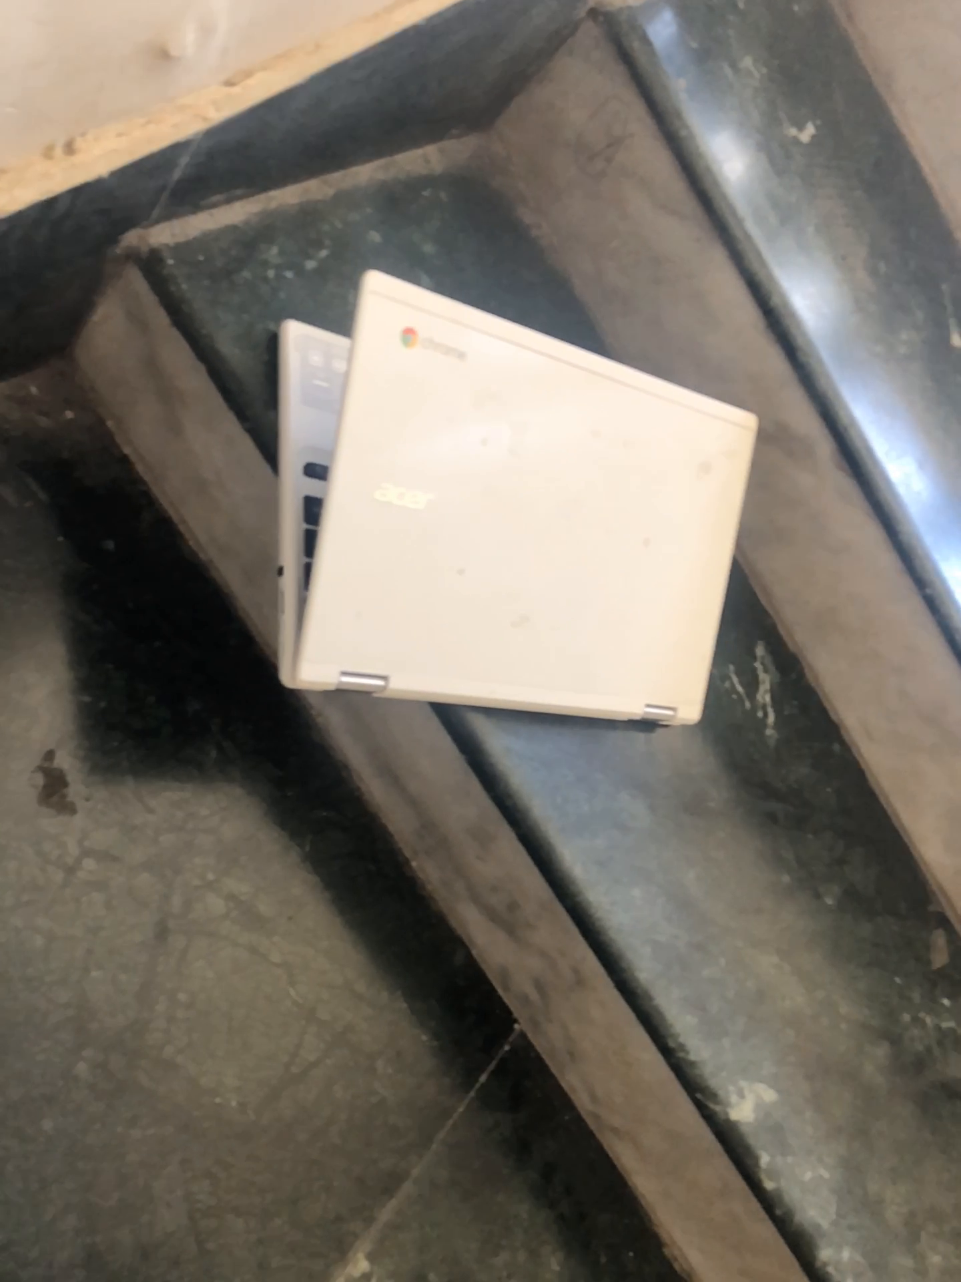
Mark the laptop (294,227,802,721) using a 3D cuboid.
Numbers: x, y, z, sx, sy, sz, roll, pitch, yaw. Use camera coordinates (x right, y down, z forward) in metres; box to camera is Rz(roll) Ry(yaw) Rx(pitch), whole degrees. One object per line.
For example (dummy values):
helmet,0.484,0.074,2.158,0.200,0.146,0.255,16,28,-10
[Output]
laptop,0.046,-0.069,0.581,0.283,0.091,0.190,8,73,-38
